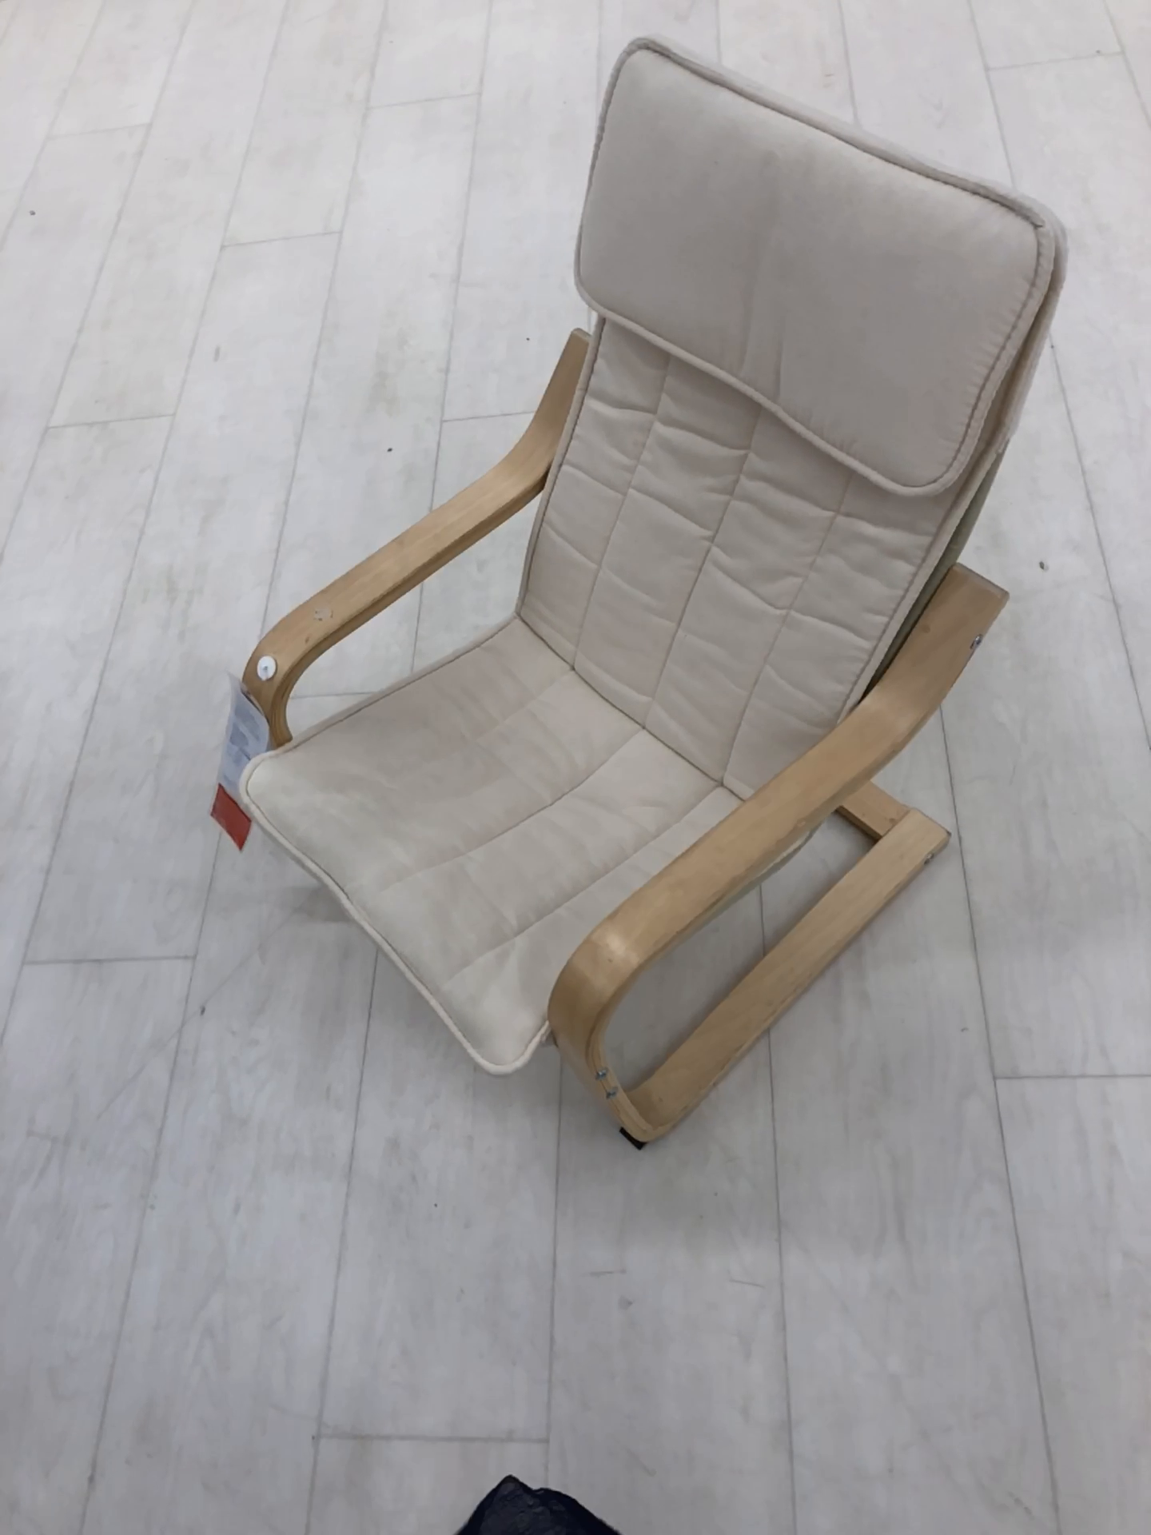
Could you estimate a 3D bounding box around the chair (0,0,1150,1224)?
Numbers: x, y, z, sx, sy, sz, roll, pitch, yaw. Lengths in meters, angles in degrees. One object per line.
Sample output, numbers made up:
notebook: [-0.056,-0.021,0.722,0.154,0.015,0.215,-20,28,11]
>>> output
chair: [-0.010,-0.099,1.047,0.560,0.688,0.531,-41,60,-15]
